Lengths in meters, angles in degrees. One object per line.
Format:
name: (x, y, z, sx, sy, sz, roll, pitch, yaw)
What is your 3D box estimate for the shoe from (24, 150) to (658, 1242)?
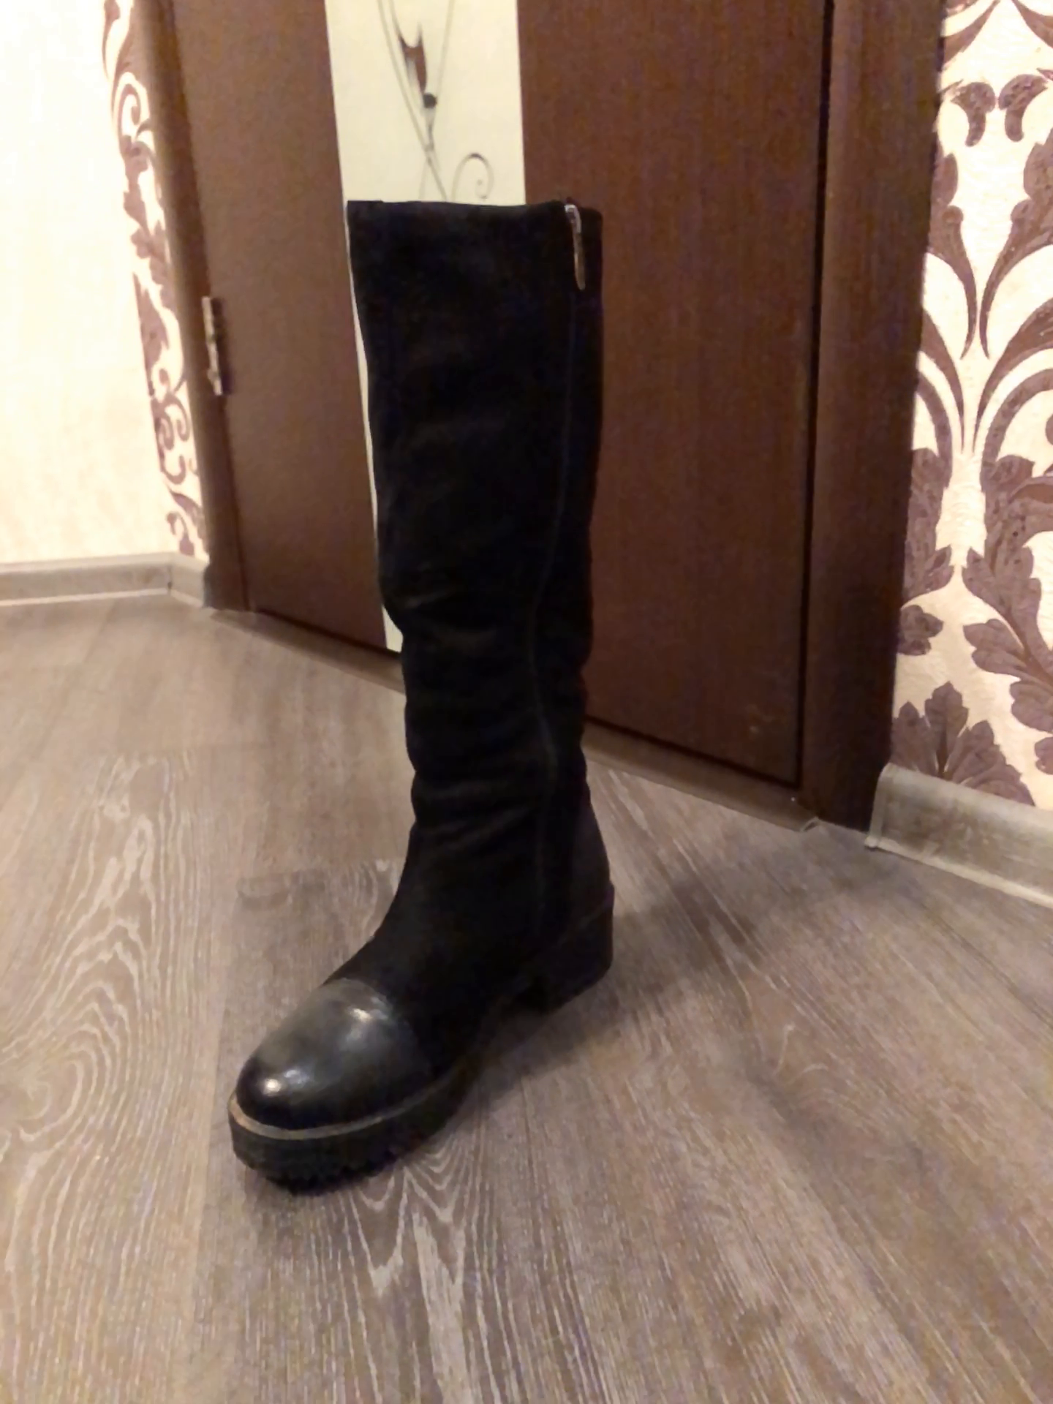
shoe: (-0.049, -0.017, 0.533, 0.100, 0.408, 0.251, 11, 24, 35)
